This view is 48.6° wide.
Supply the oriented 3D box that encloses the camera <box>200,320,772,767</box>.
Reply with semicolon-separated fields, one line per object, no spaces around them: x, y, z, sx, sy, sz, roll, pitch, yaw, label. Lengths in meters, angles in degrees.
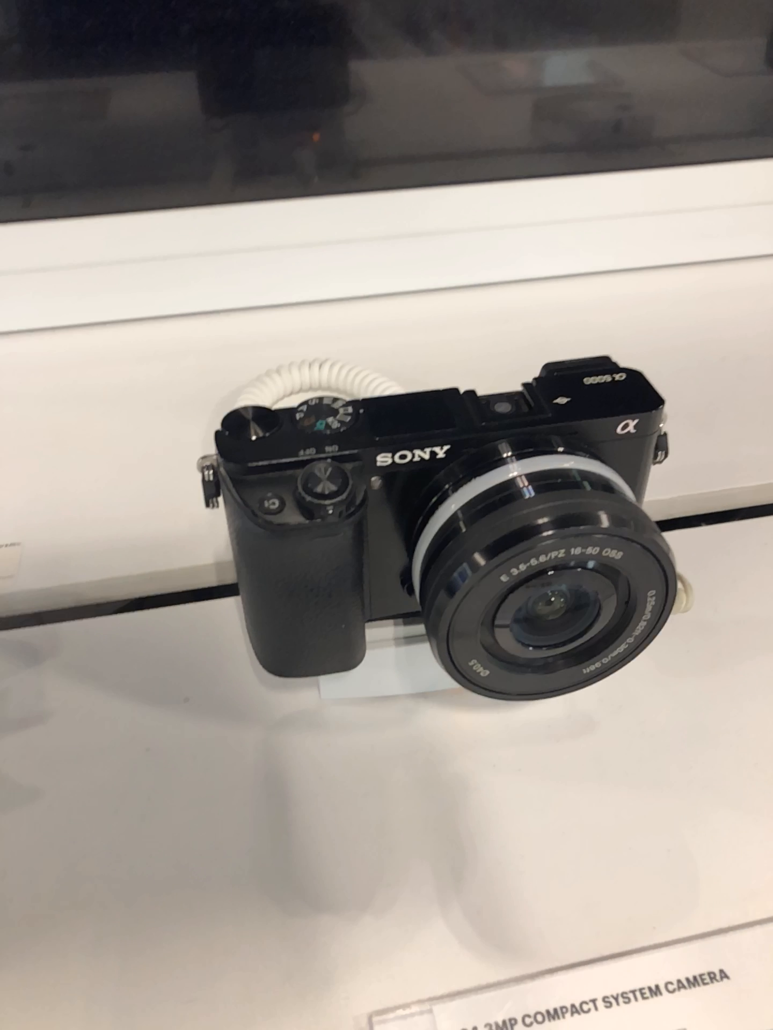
0.019;0.004;0.222;0.120;0.070;0.070;-9;40;-8;camera
